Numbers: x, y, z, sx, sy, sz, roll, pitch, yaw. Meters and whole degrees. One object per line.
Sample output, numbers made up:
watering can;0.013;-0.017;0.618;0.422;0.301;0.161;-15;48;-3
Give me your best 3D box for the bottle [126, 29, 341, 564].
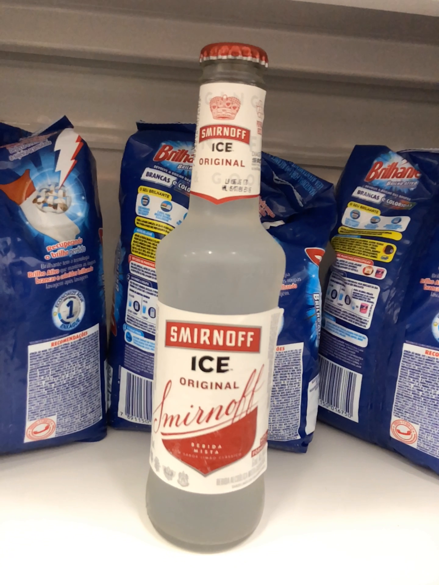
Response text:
bottle;0.003;0.005;0.220;0.070;0.209;0.060;4;12;4
